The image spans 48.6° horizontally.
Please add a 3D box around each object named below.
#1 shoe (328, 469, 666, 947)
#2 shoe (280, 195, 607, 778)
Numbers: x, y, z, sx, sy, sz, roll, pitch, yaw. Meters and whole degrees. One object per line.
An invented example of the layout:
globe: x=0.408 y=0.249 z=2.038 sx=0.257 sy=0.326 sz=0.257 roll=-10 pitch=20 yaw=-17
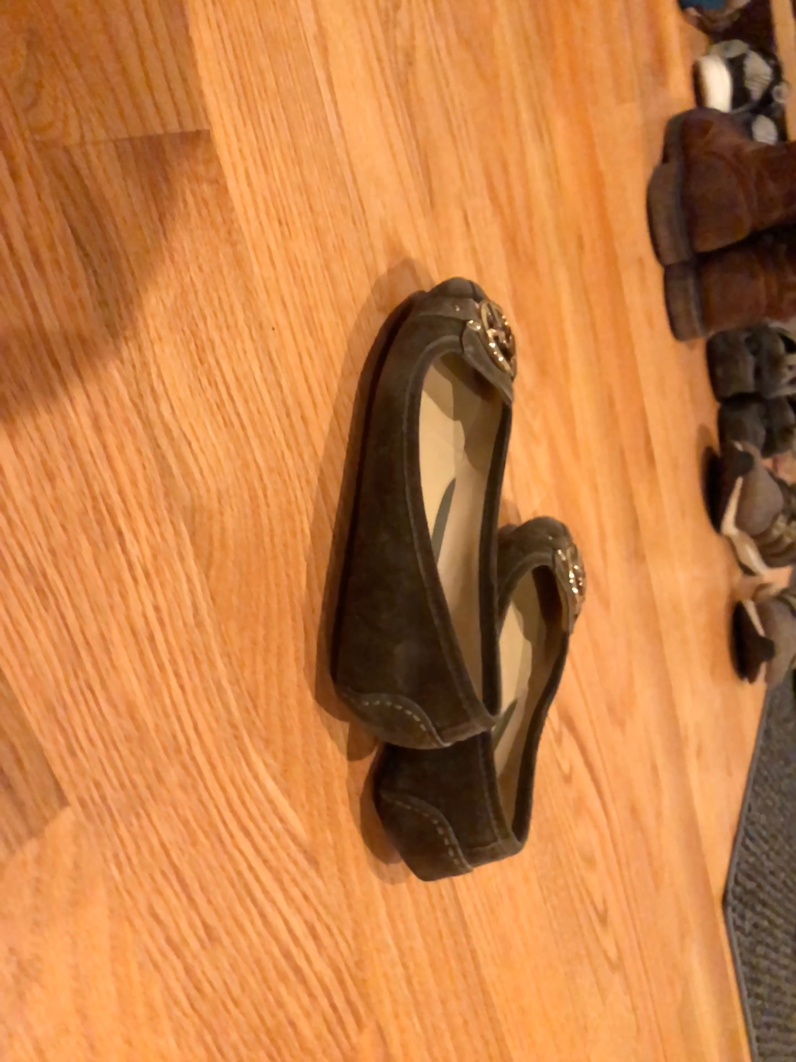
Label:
shoe: x=0.068 y=0.073 z=0.458 sx=0.241 sy=0.079 sz=0.091 roll=-55 pitch=131 yaw=-46
shoe: x=0.033 y=-0.022 z=0.406 sx=0.091 sy=0.079 sz=0.243 roll=42 pitch=52 yaw=-48
